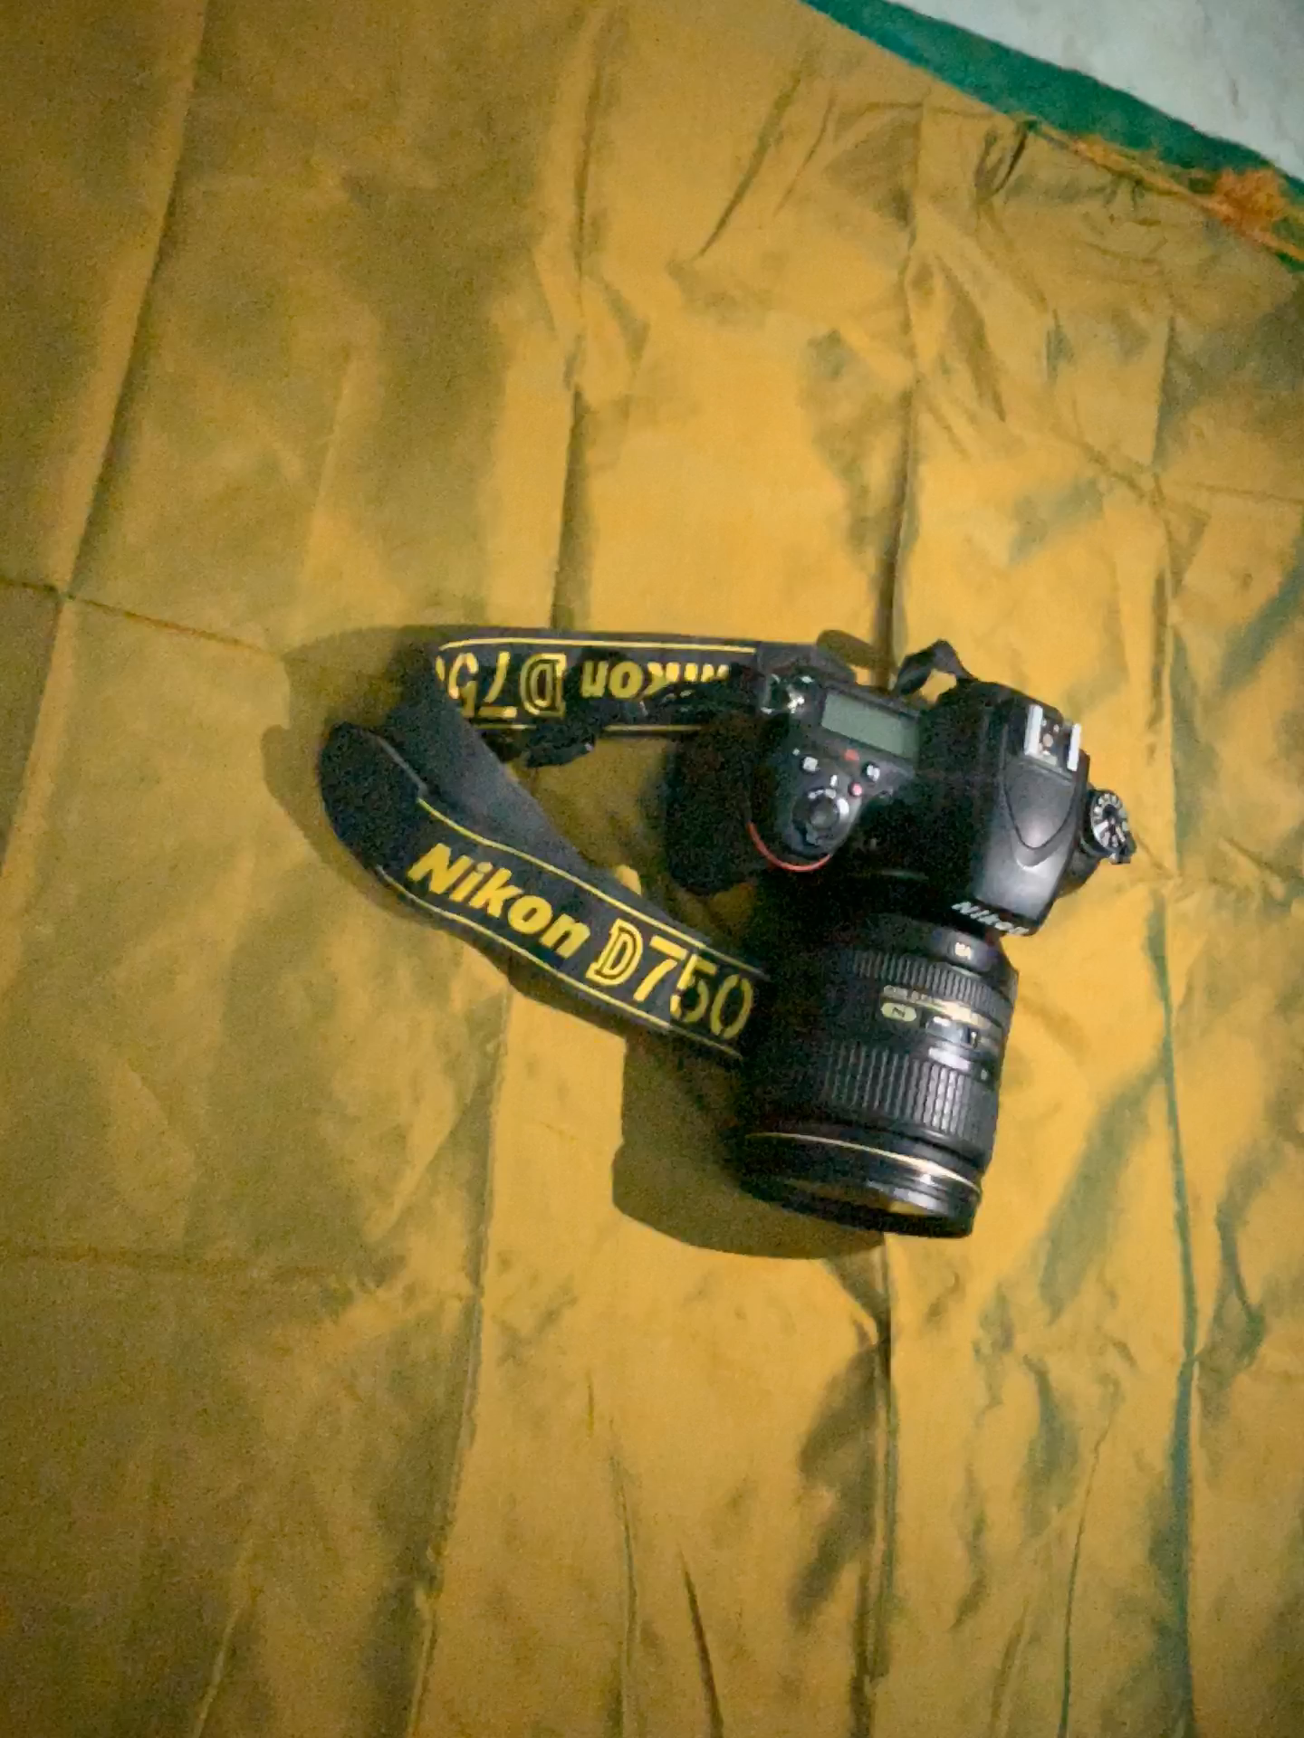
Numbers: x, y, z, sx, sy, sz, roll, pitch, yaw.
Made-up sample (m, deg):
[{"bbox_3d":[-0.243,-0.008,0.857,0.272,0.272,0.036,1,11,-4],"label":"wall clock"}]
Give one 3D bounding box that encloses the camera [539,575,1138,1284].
[{"bbox_3d":[0.066,0.029,0.460,0.150,0.101,0.190,18,69,-19],"label":"camera"}]
